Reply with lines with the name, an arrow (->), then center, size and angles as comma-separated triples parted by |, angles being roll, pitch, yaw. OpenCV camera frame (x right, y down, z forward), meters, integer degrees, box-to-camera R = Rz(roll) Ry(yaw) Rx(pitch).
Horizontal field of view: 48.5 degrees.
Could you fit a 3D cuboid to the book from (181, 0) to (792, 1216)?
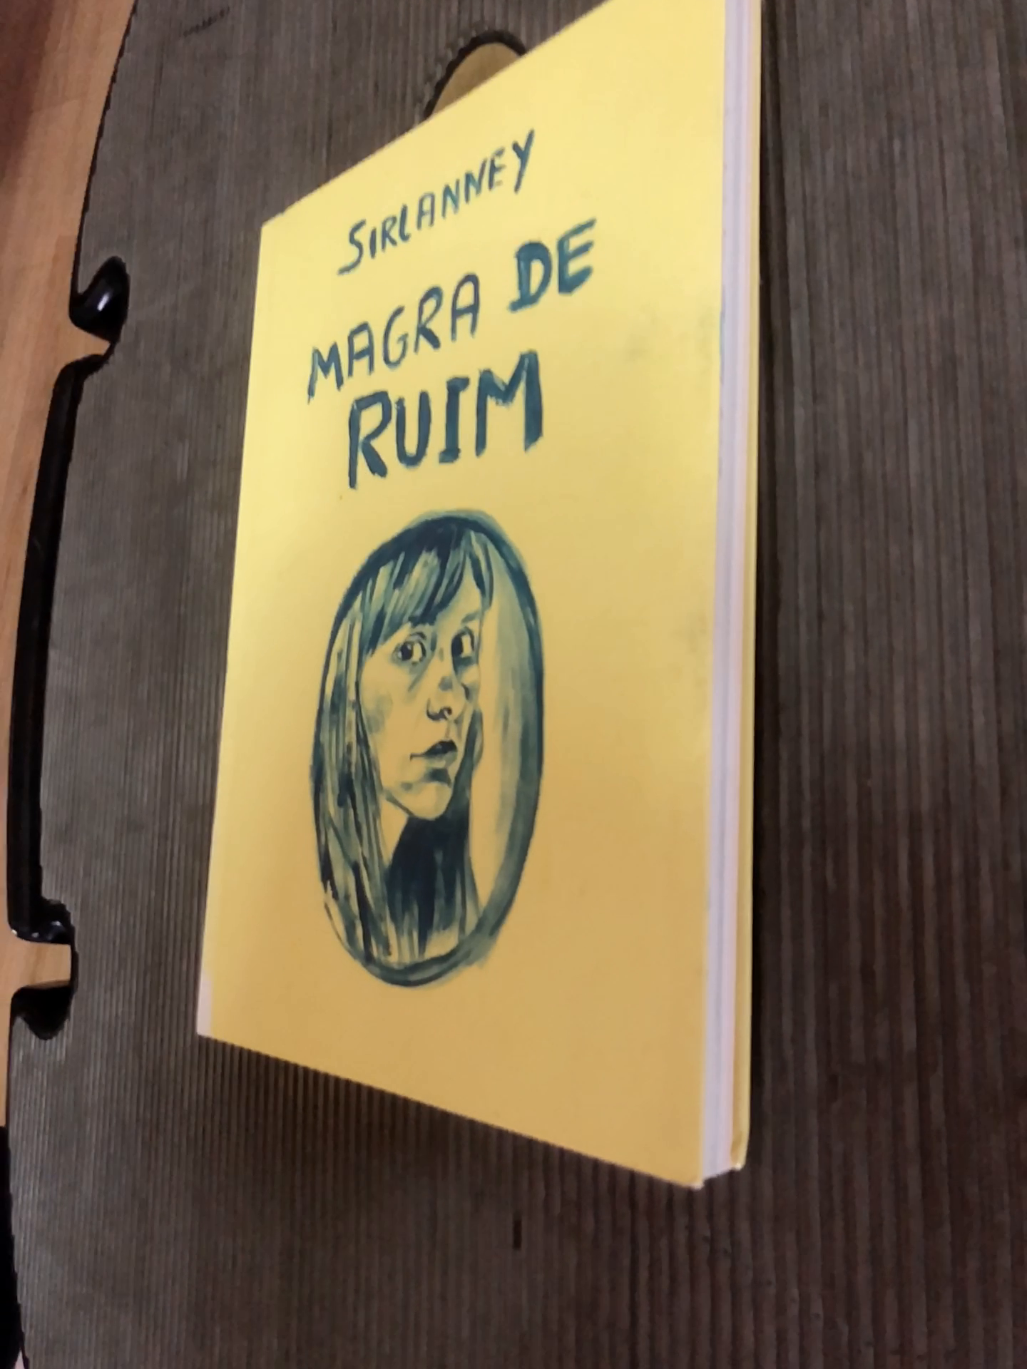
book -> -0.015, -0.024, 0.235 | 0.151, 0.020, 0.210 | -4, 81, 46
